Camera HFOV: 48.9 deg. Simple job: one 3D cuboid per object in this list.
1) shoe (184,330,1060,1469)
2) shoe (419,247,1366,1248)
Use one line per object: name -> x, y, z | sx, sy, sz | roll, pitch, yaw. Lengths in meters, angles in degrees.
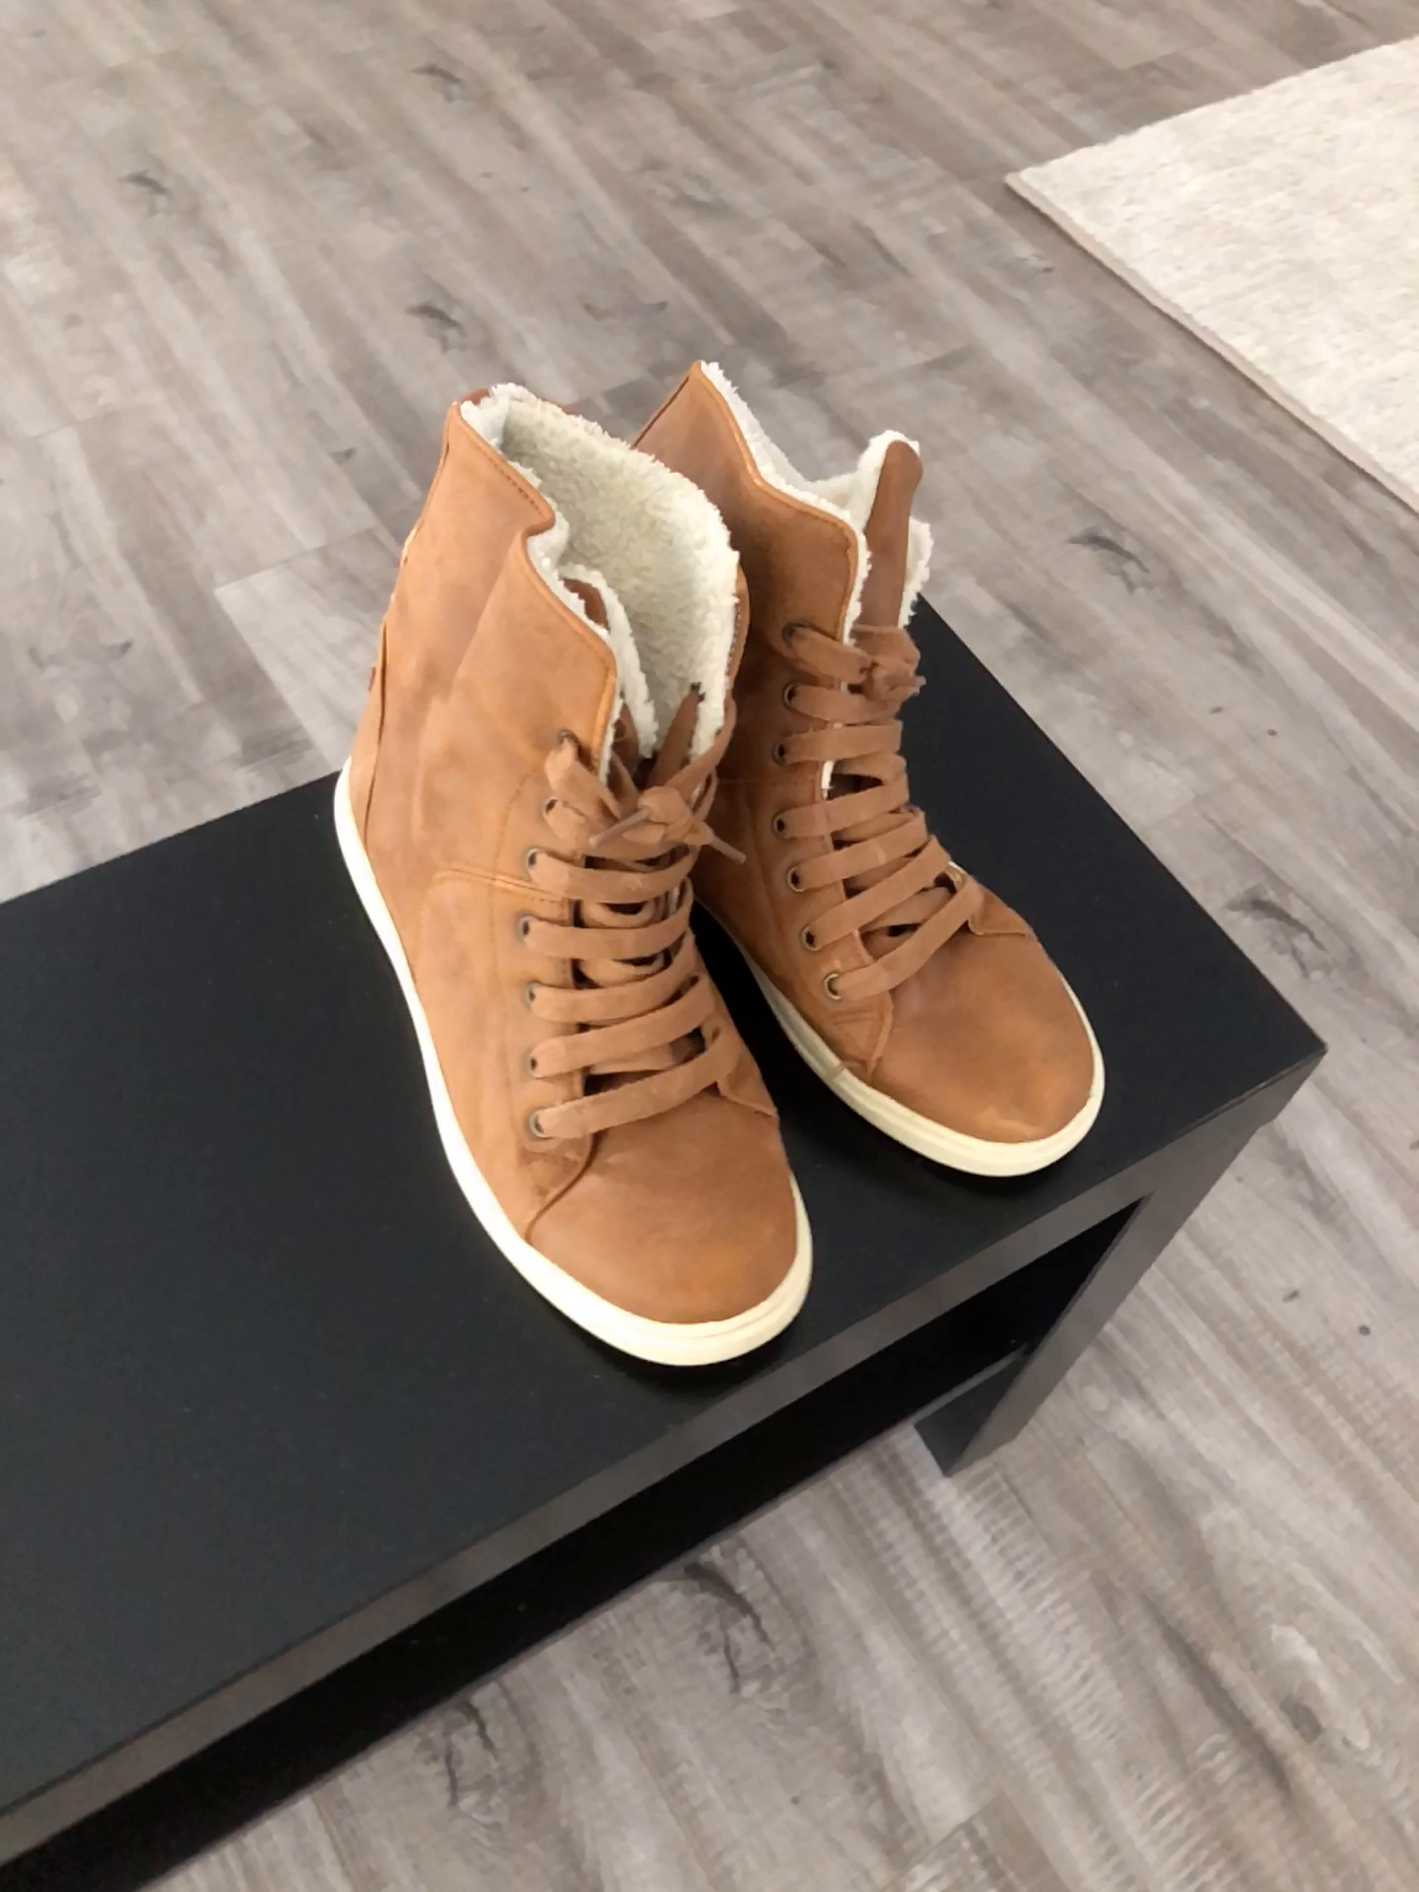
shoe -> -0.038, -0.019, 0.435 | 0.110, 0.150, 0.261 | -21, 60, -17
shoe -> 0.034, -0.066, 0.473 | 0.110, 0.140, 0.261 | -31, 63, -22
